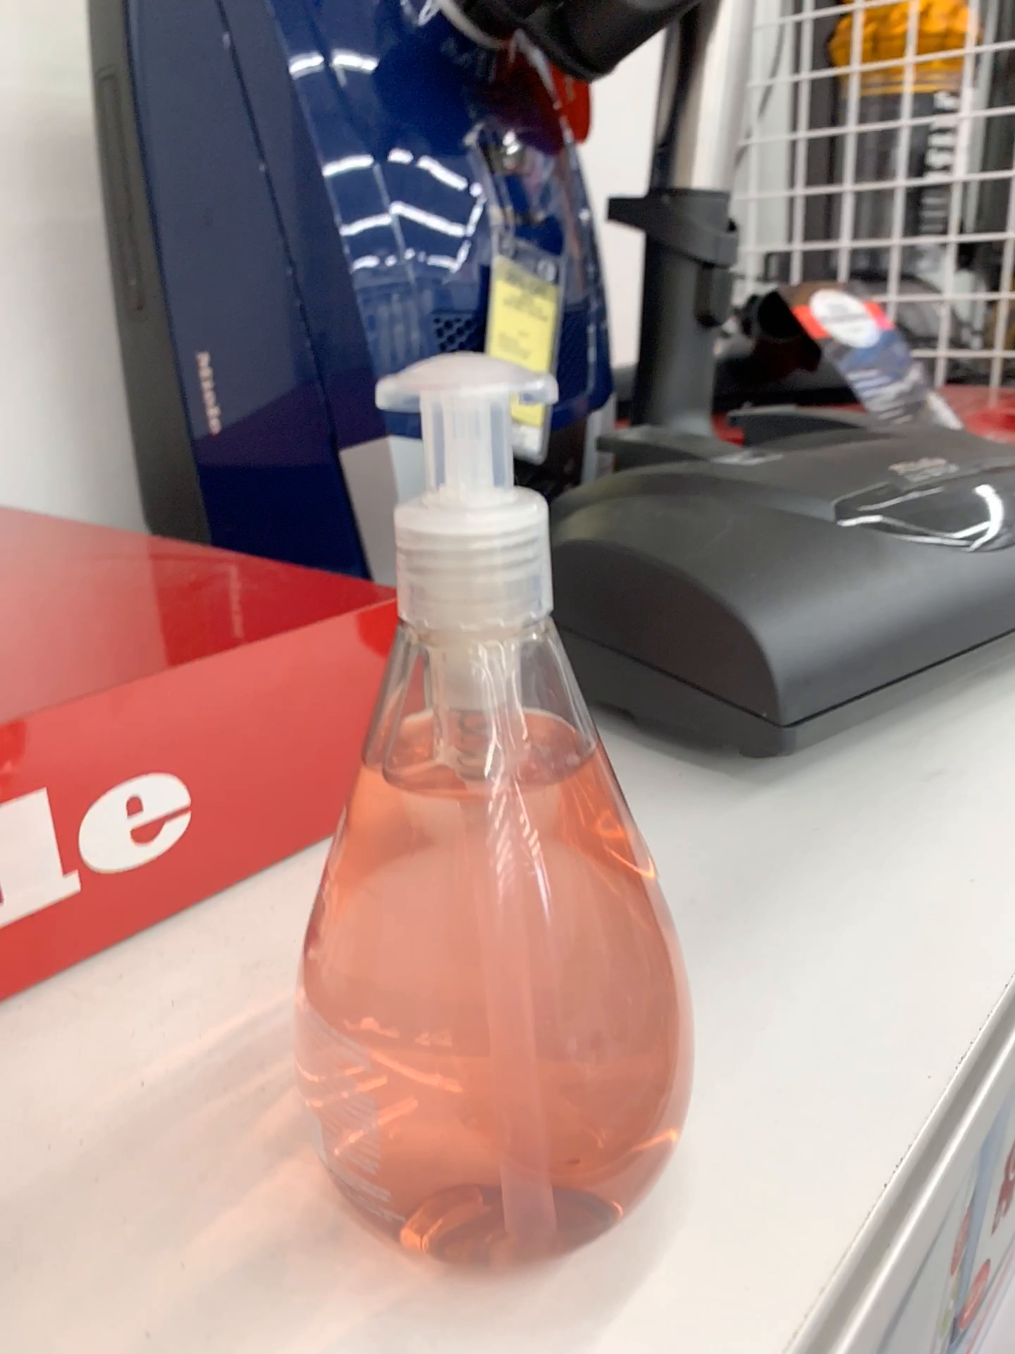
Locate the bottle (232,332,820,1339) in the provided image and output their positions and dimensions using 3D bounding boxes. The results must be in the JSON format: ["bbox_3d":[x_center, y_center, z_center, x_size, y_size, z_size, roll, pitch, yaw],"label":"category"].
[{"bbox_3d":[-0.001,0.021,0.202,0.077,0.160,0.080,-2,20,1],"label":"bottle"}]
